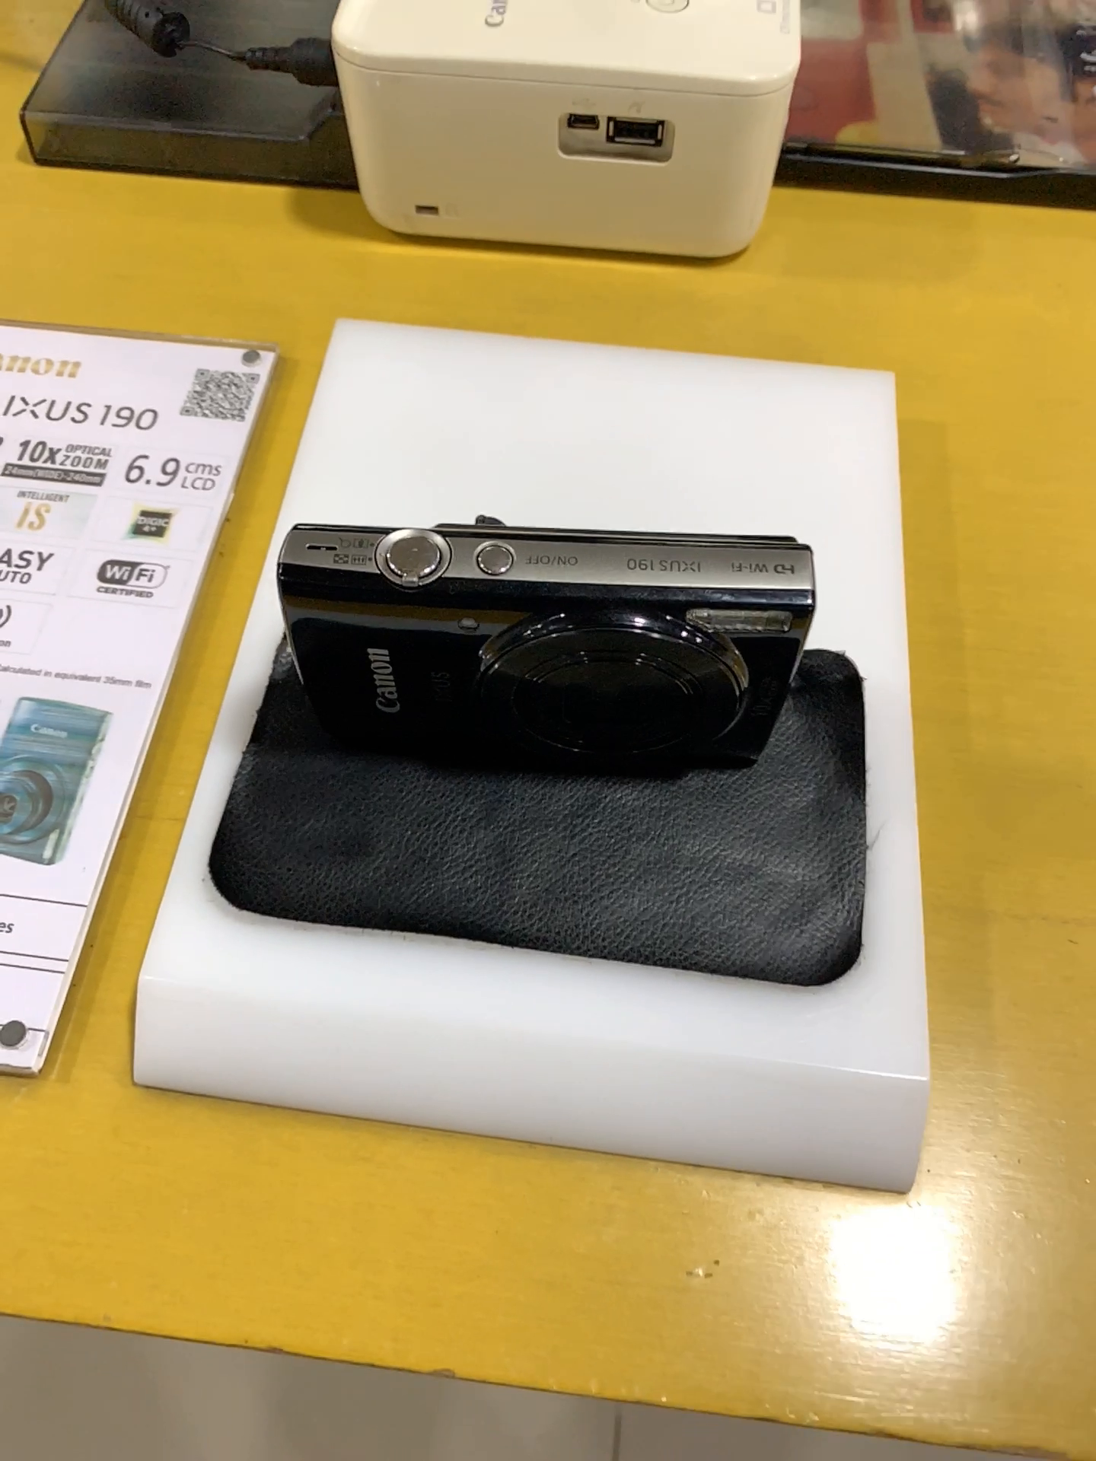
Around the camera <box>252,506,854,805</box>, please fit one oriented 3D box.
[{"bbox_3d":[0.001,-0.011,0.201,0.090,0.060,0.020,2,61,1],"label":"camera"}]
